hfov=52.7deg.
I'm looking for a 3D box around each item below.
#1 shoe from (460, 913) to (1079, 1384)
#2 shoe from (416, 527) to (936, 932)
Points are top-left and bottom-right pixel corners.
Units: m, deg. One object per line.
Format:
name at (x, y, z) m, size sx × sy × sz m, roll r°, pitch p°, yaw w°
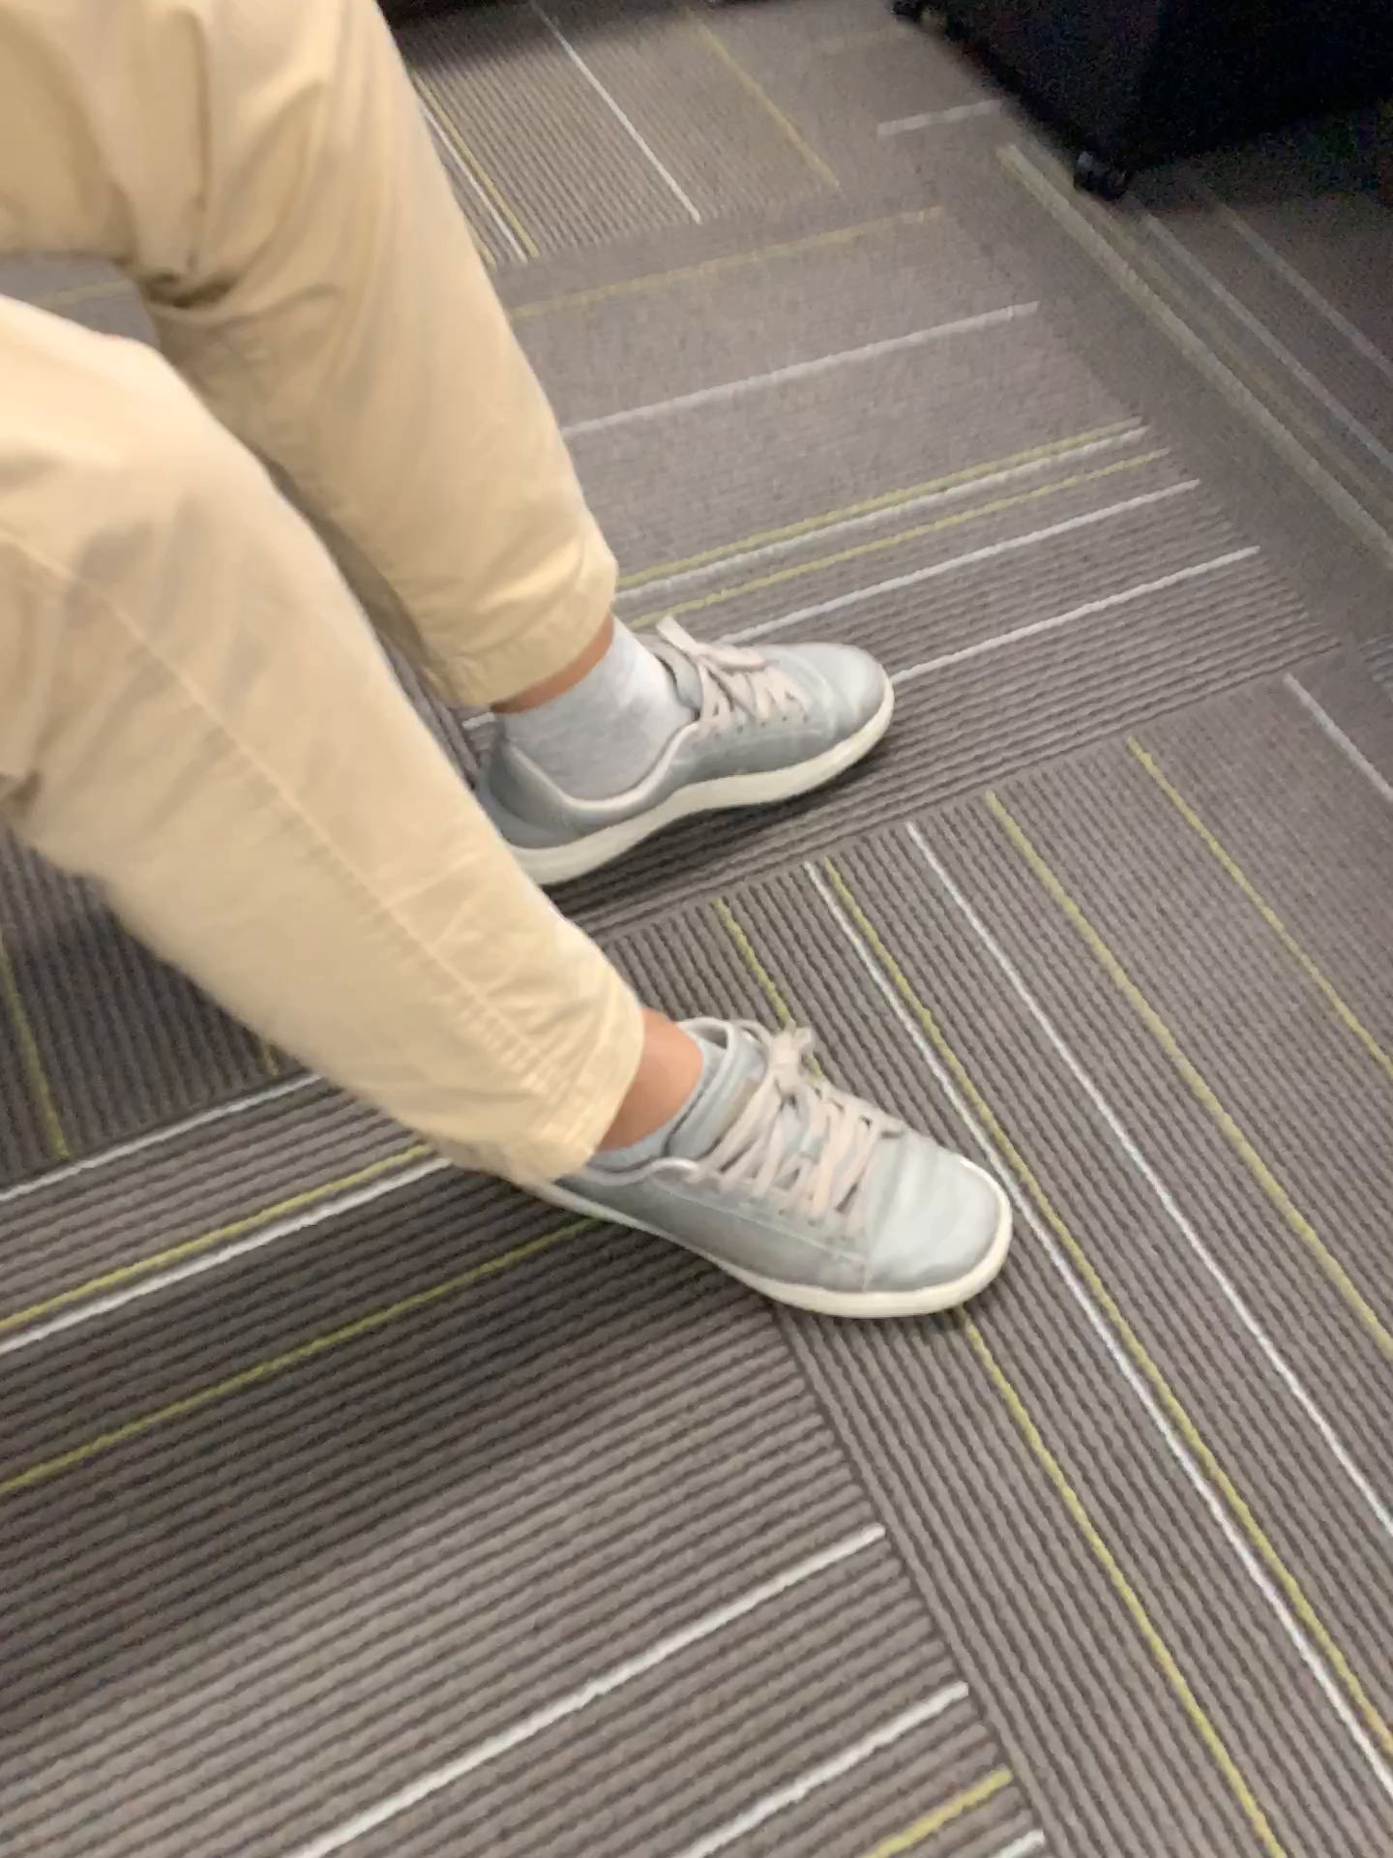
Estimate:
shoe at (0.033, 0.115, 0.718) m, size 0.270 × 0.140 × 0.120 m, roll 17°, pitch 59°, yaw 5°
shoe at (-0.013, -0.126, 0.864) m, size 0.280 × 0.110 × 0.120 m, roll -24°, pitch 64°, yaw -18°
